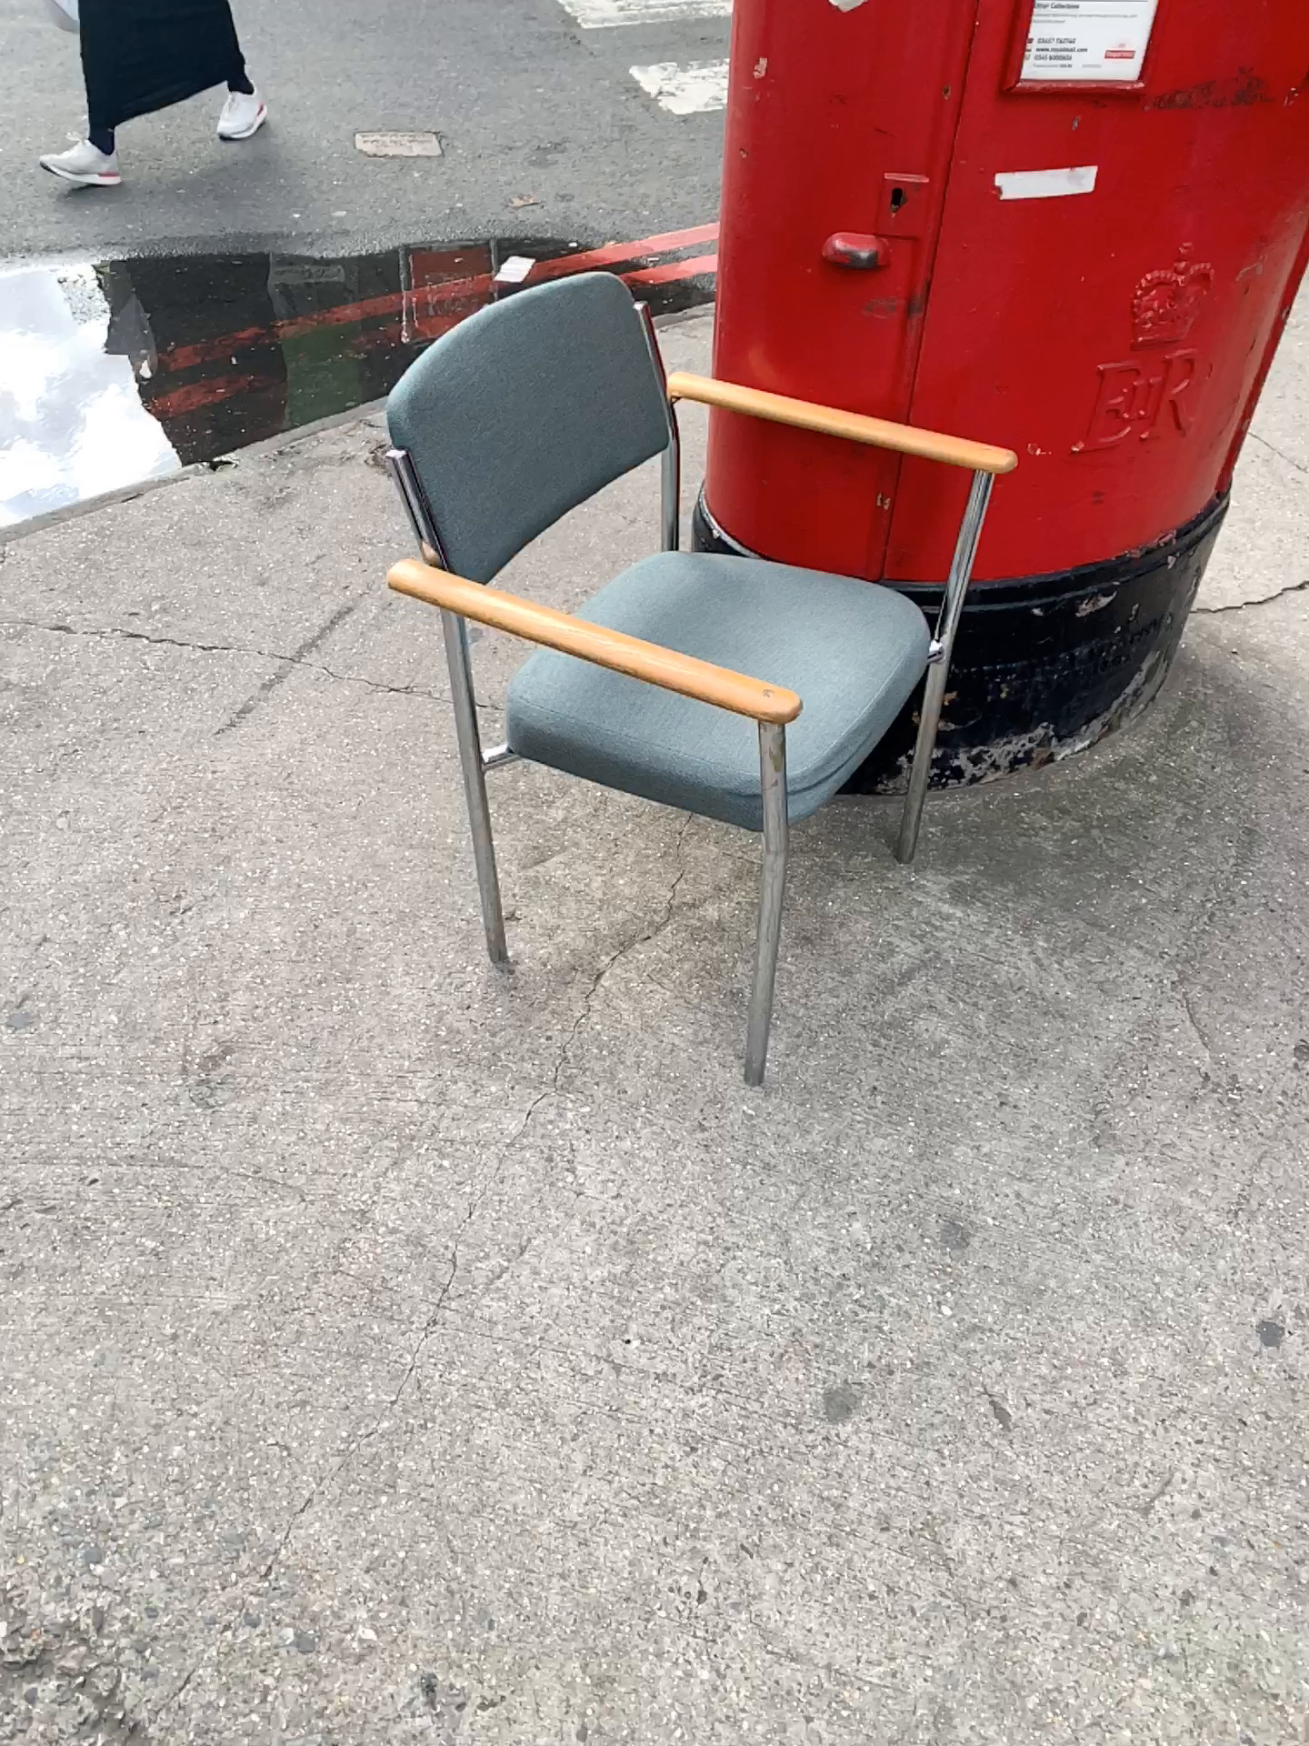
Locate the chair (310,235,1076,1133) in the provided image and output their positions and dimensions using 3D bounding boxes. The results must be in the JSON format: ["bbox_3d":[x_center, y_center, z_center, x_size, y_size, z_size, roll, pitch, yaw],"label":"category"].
[{"bbox_3d":[0.047,-0.233,1.584,0.571,0.740,0.561,23,47,20],"label":"chair"}]
